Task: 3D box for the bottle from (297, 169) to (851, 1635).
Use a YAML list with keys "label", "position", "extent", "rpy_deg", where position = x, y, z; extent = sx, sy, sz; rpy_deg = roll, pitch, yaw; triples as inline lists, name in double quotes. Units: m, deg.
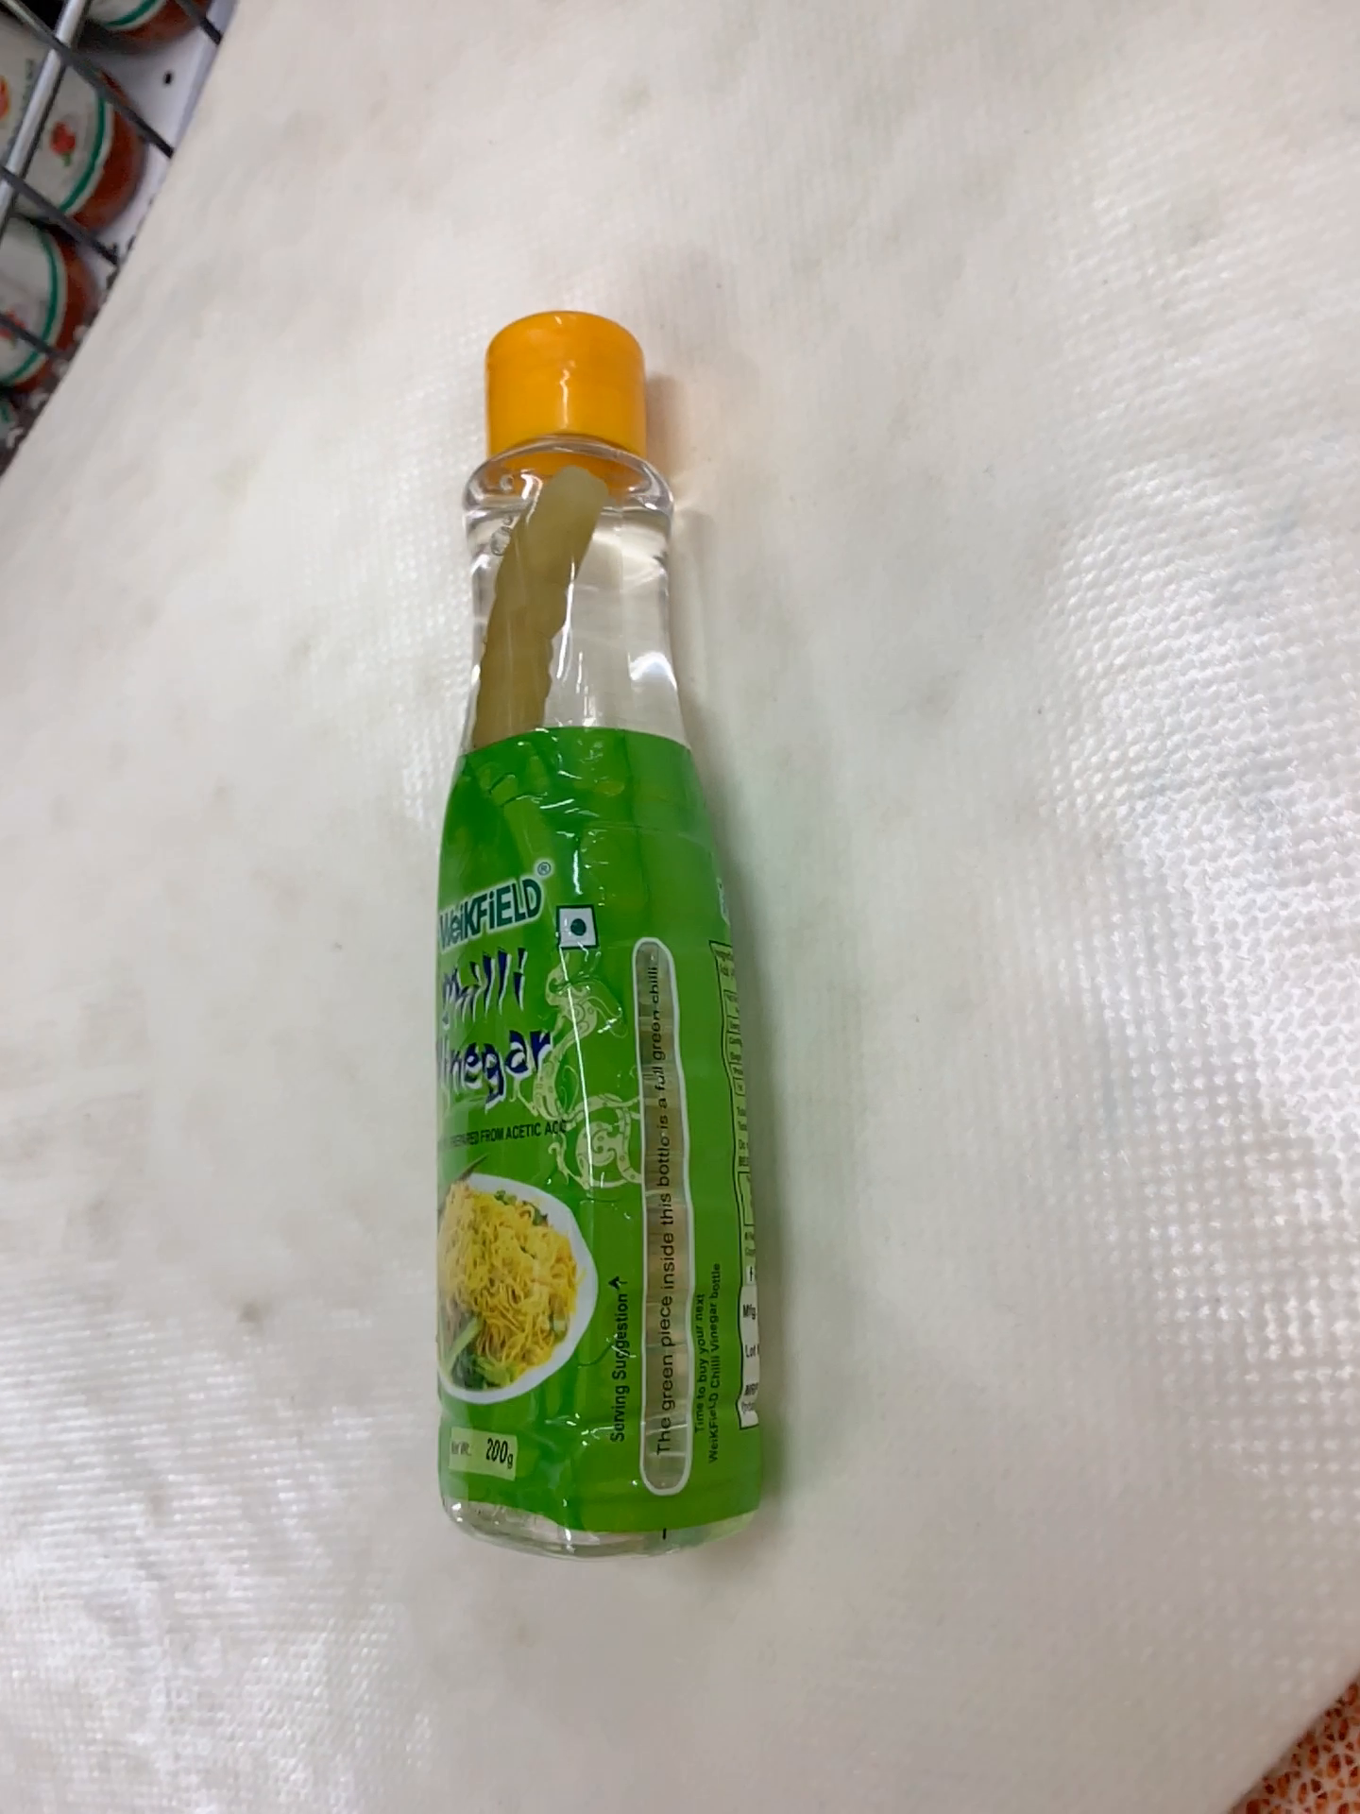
- label: "bottle"
  position: [-0.020, -0.002, 0.207]
  extent: [0.060, 0.040, 0.180]
  rpy_deg: [-15, 77, 50]
